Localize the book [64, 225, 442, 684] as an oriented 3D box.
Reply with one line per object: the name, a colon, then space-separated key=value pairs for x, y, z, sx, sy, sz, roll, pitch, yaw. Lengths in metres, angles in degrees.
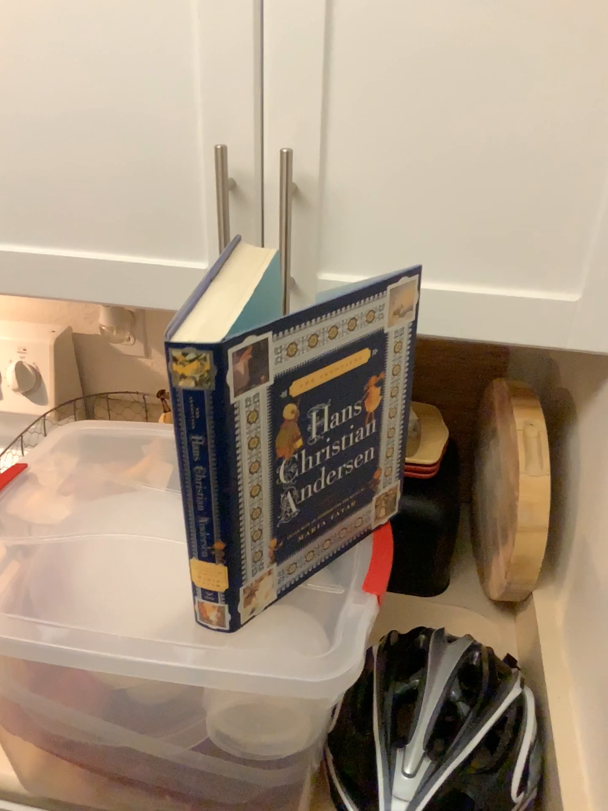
book: x=-0.025 y=0.021 z=0.578 sx=0.200 sy=0.260 sz=0.250 roll=14 pitch=33 yaw=16
